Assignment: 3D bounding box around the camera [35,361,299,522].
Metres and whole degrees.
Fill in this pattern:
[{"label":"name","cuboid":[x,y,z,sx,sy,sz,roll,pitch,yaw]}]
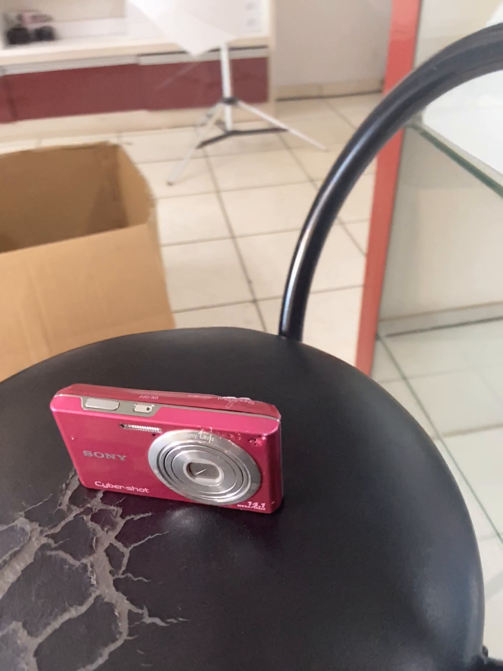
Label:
[{"label":"camera","cuboid":[-0.032,0.044,0.223,0.100,0.050,0.030,5,38,12]}]
